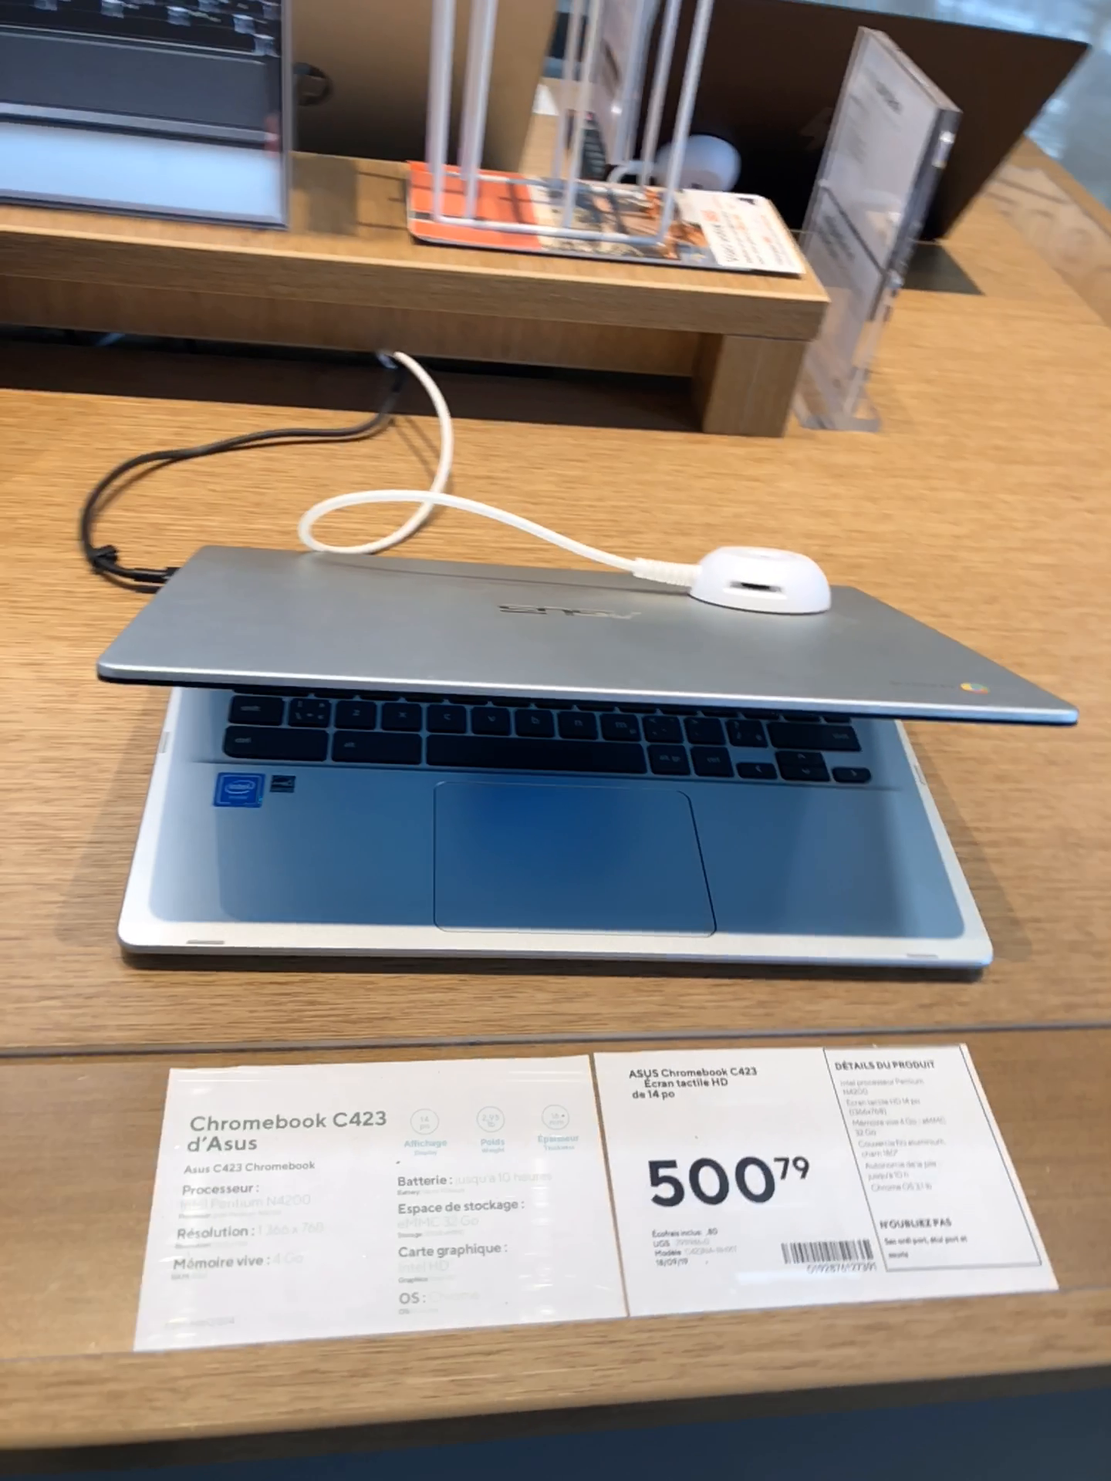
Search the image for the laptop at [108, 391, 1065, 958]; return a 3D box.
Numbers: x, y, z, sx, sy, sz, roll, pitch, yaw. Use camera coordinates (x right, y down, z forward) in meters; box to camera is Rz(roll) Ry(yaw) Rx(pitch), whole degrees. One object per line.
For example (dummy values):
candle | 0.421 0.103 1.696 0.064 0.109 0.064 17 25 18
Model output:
laptop | 0.008 -0.029 0.479 0.304 0.080 0.206 3 46 -10
